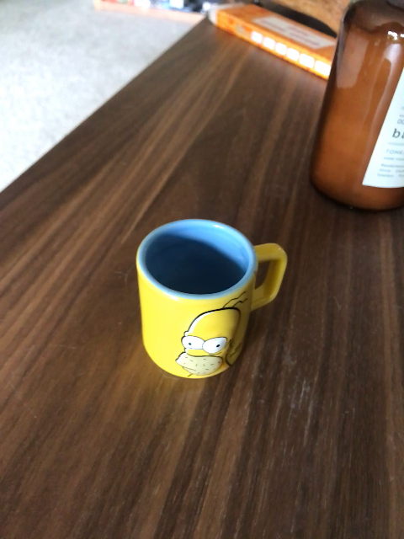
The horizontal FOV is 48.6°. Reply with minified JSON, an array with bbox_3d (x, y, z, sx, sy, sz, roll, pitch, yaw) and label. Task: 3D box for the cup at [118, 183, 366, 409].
[{"bbox_3d":[0.015,0.009,0.215,0.090,0.060,0.060,-17,47,-20],"label":"cup"}]
